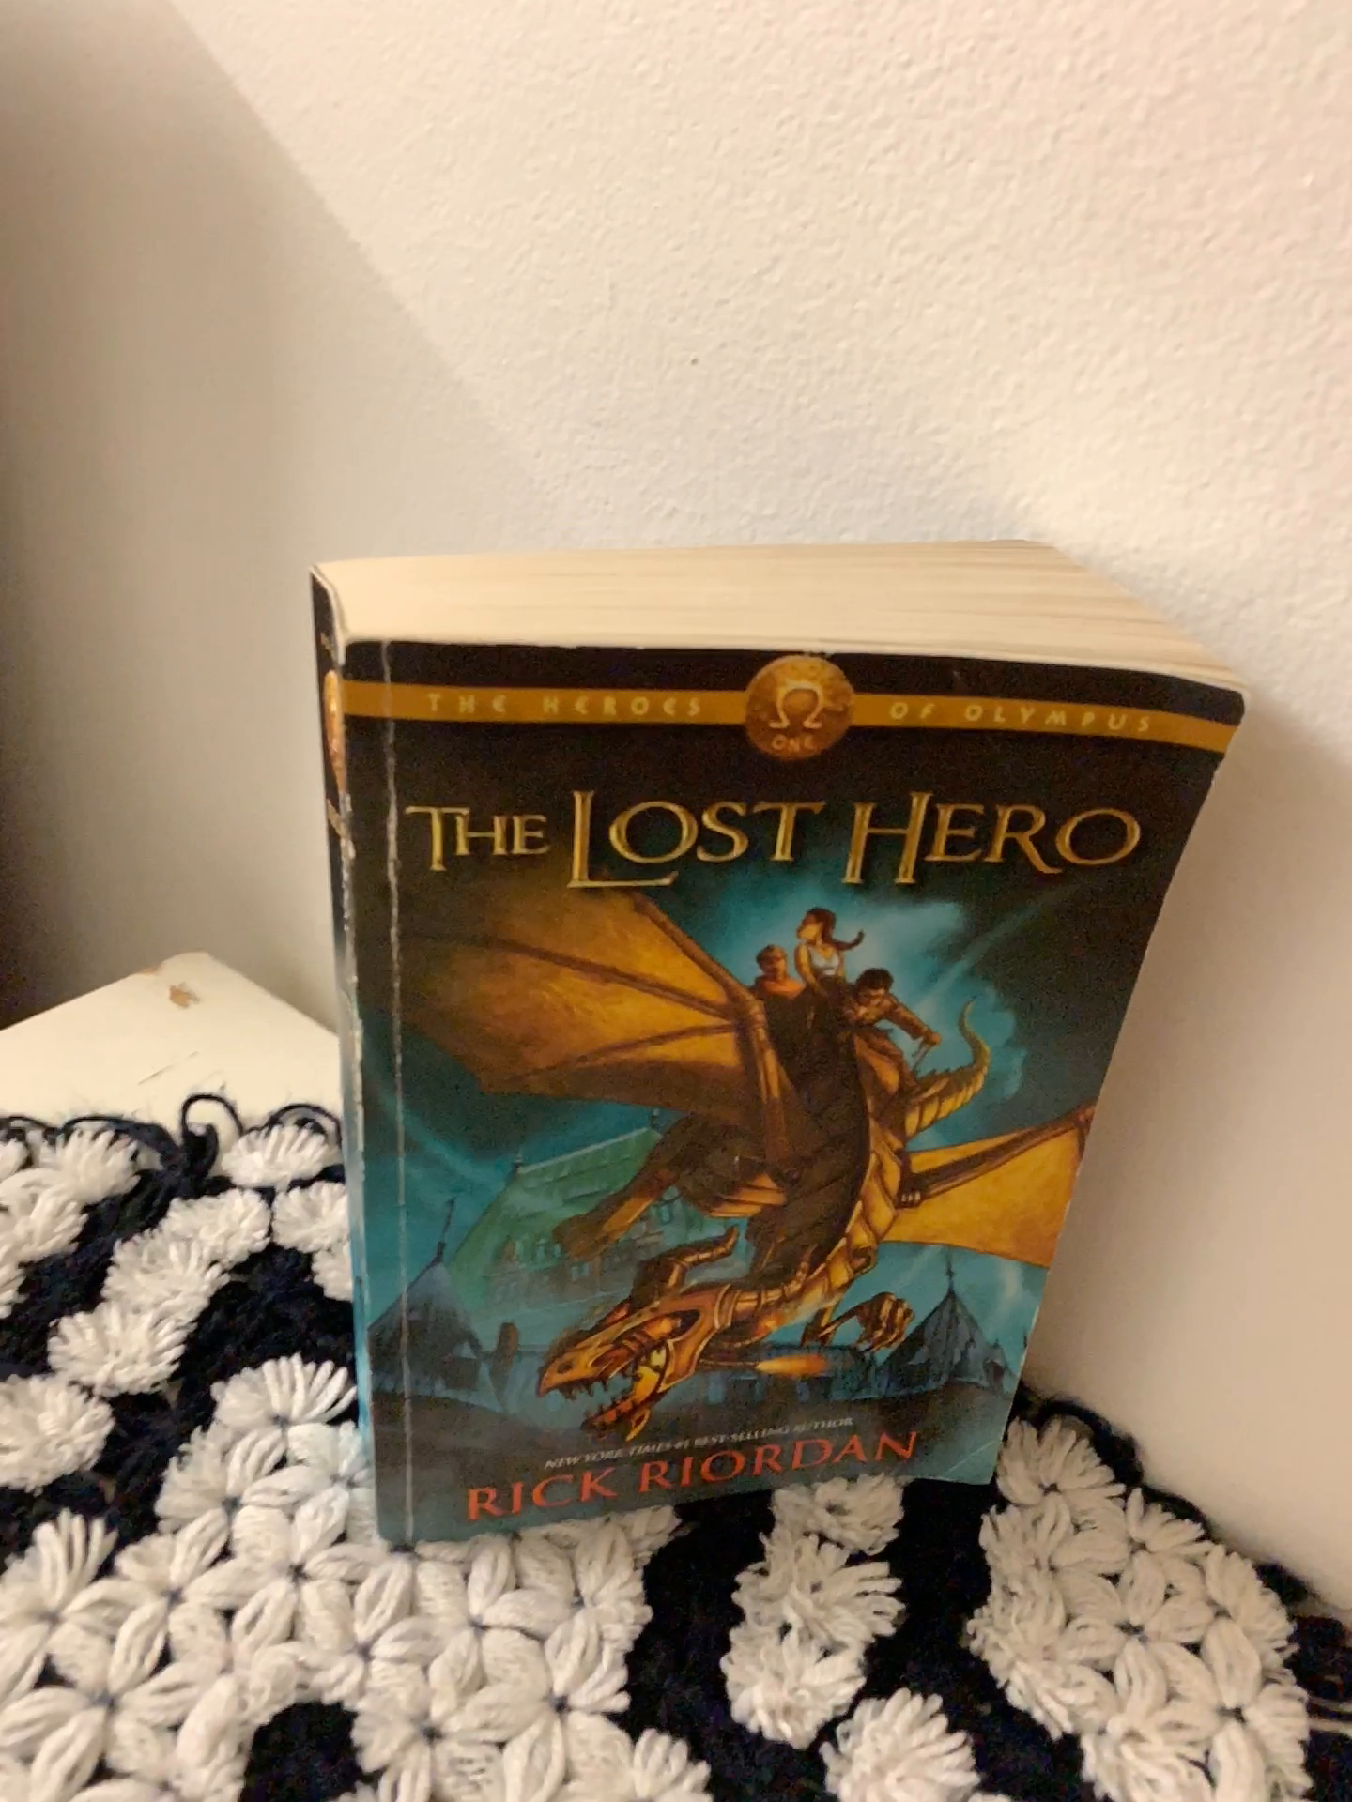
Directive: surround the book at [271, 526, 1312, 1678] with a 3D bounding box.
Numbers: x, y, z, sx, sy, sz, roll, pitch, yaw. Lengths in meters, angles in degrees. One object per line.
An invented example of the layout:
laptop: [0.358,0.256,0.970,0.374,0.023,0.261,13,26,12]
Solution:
book: [0.007,0.032,0.247,0.142,0.177,0.068,-3,26,-16]
